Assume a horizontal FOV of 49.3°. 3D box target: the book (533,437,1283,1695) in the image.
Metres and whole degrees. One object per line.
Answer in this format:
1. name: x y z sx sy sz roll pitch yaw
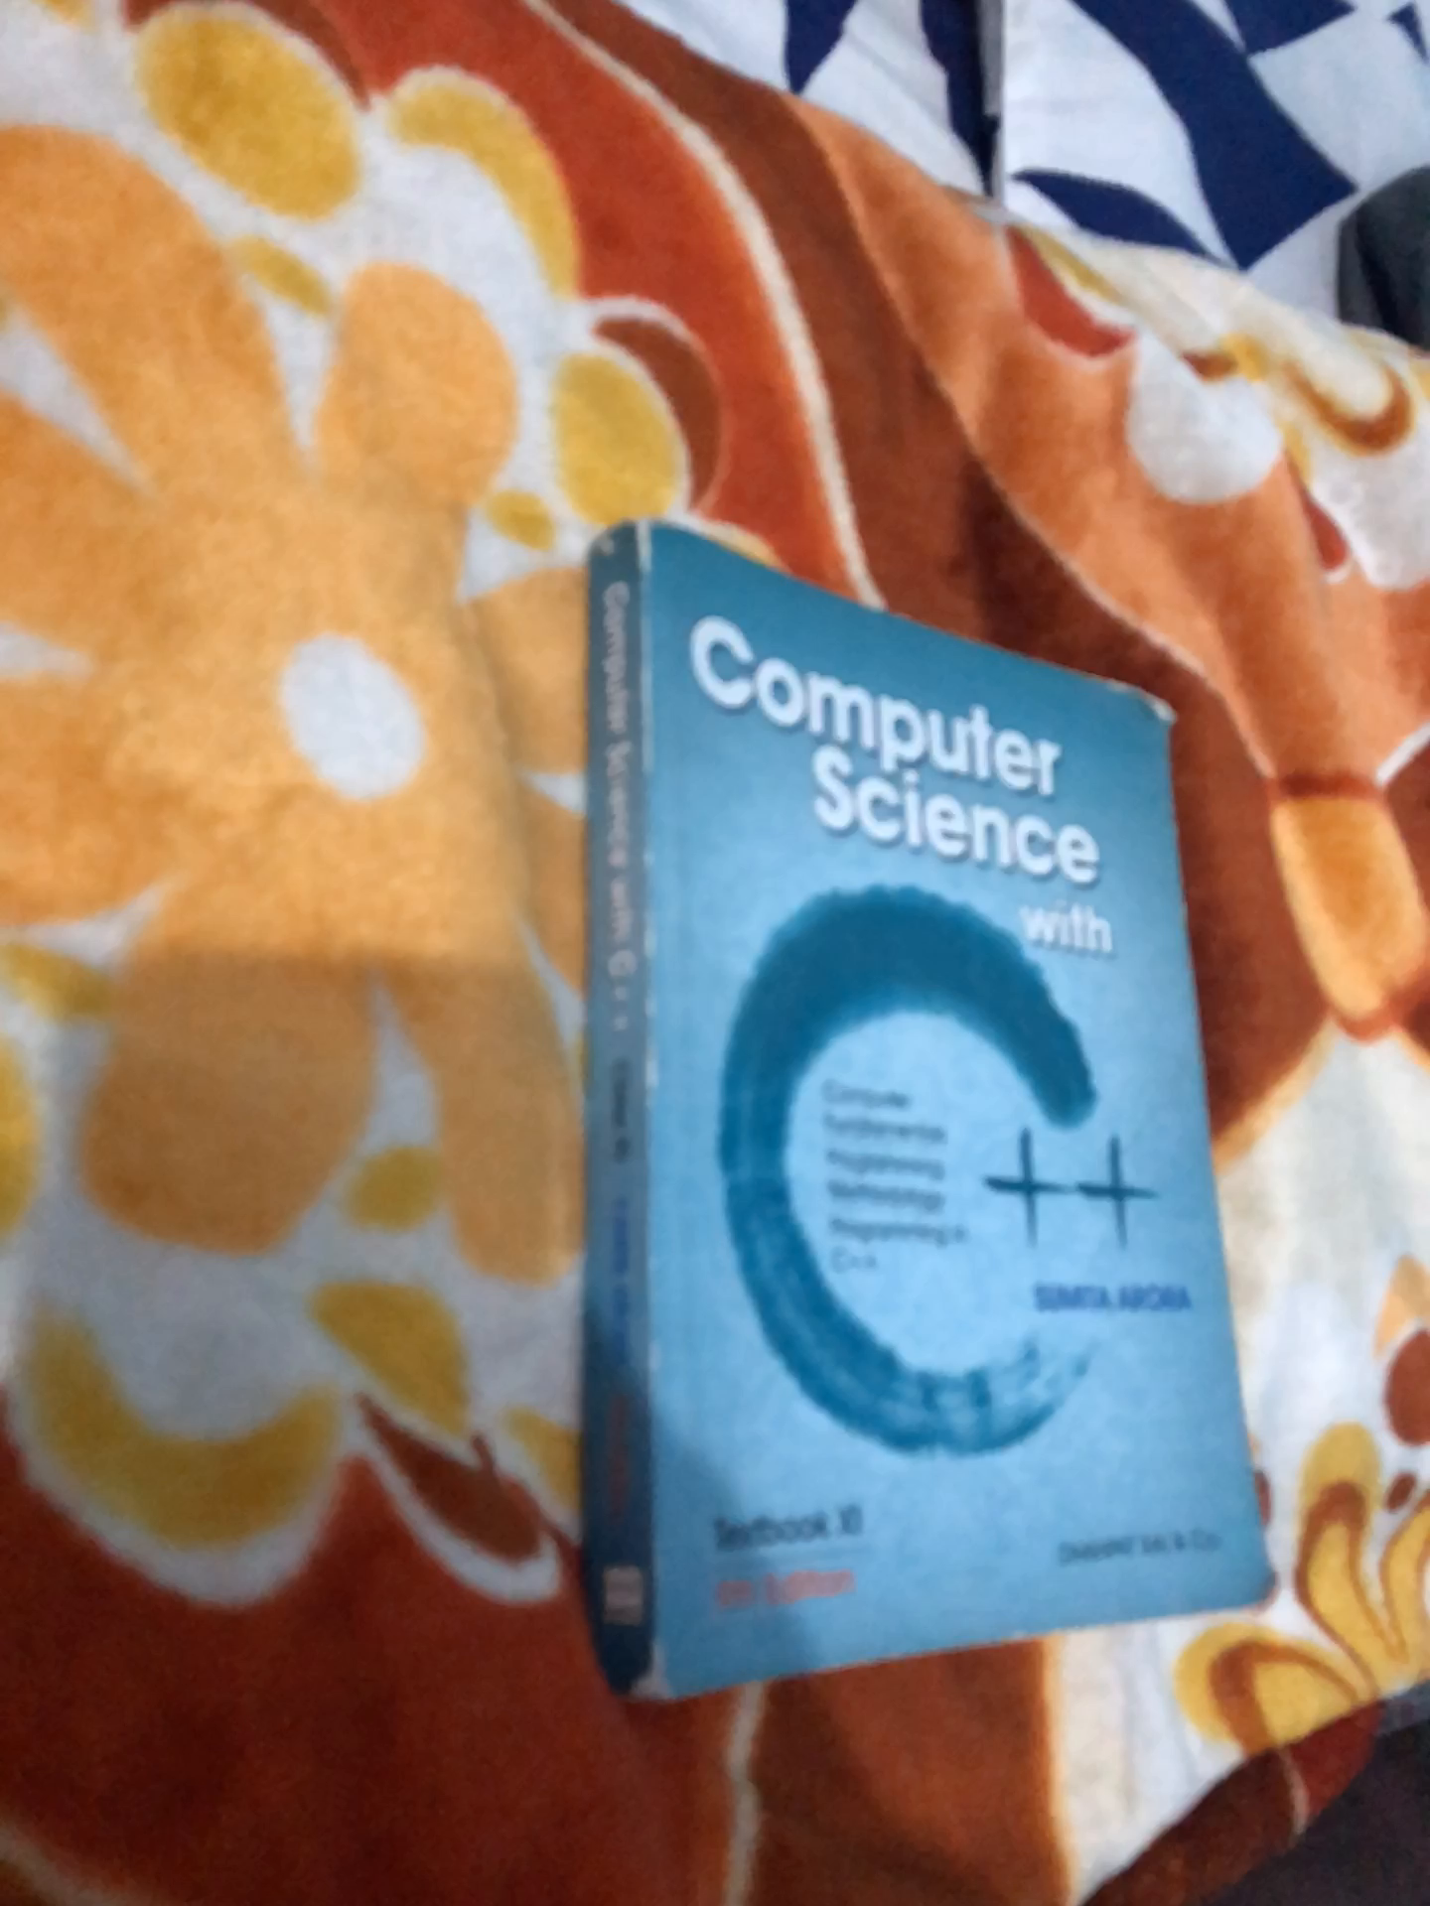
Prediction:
1. book: 0.057 0.030 0.407 0.211 0.040 0.270 11 72 -36
